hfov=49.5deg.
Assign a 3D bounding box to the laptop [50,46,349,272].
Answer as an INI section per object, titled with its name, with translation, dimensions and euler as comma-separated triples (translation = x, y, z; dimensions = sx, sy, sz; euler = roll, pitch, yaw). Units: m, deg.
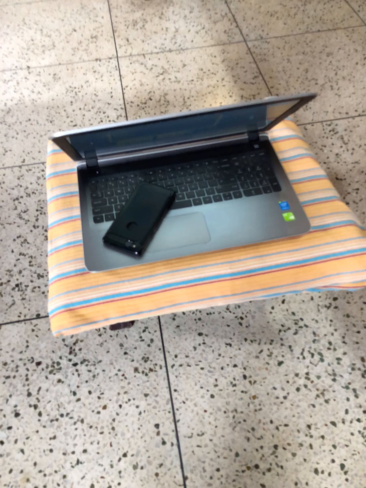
[laptop]
translation = 0.007, -0.137, 0.628
dimensions = 0.371, 0.184, 0.237
euler = -11, 56, -6
